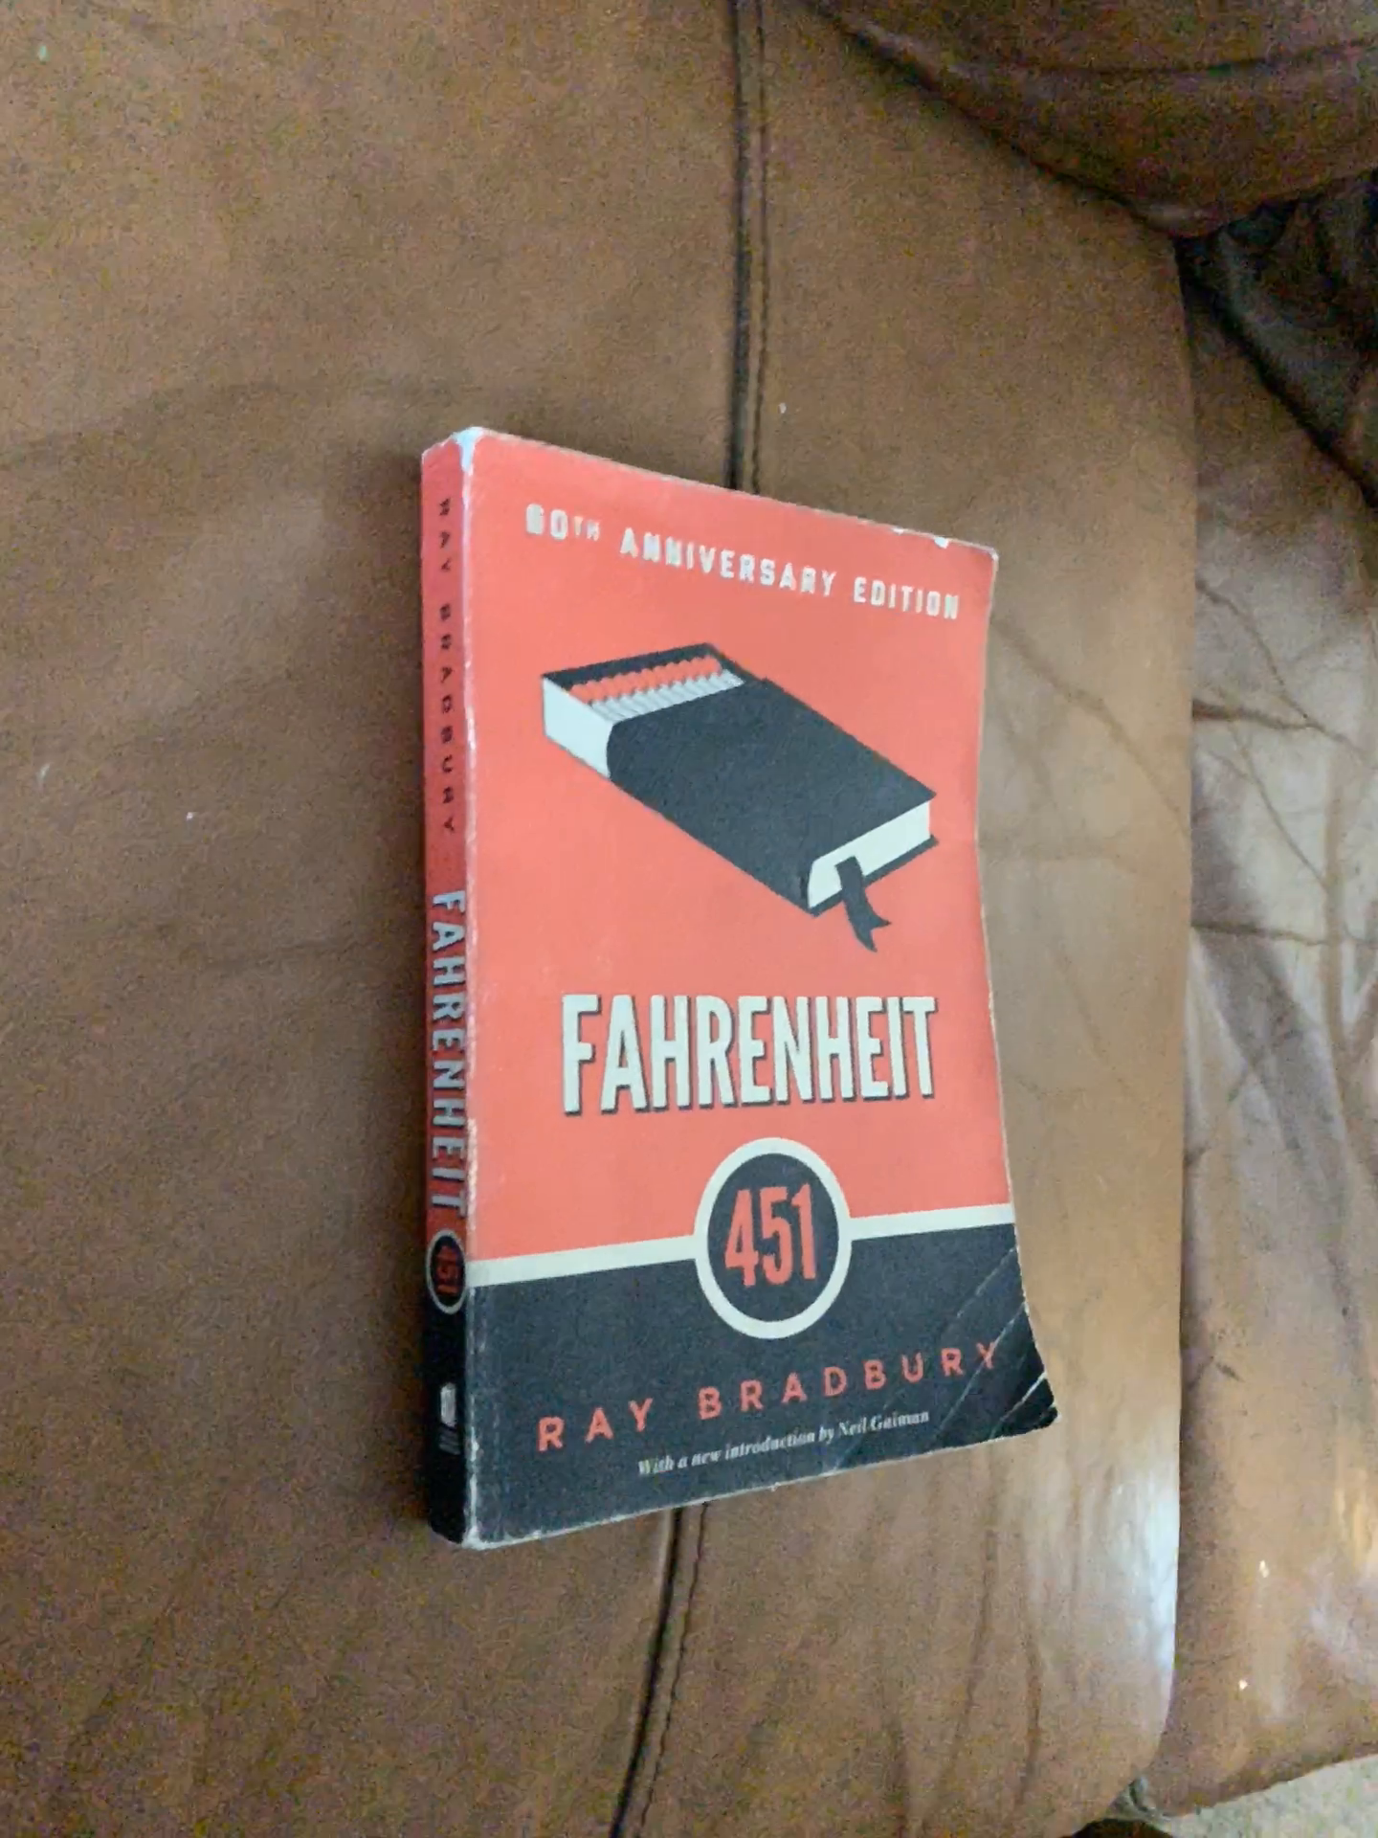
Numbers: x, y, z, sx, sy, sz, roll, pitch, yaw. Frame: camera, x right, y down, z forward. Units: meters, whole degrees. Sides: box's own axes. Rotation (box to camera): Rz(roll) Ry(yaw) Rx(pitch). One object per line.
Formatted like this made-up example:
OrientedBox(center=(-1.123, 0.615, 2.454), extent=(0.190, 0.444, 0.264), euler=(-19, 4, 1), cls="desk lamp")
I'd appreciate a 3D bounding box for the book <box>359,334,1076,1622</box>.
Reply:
OrientedBox(center=(0.011, 0.009, 0.304), extent=(0.151, 0.040, 0.220), euler=(2, 82, -39), cls="book")
